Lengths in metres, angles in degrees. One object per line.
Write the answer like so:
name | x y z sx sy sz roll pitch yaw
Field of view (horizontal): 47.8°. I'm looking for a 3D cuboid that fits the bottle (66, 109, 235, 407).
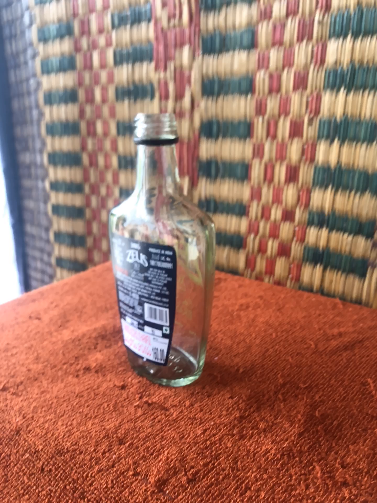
bottle | -0.019 -0.001 0.242 0.080 0.149 0.040 14 26 38
